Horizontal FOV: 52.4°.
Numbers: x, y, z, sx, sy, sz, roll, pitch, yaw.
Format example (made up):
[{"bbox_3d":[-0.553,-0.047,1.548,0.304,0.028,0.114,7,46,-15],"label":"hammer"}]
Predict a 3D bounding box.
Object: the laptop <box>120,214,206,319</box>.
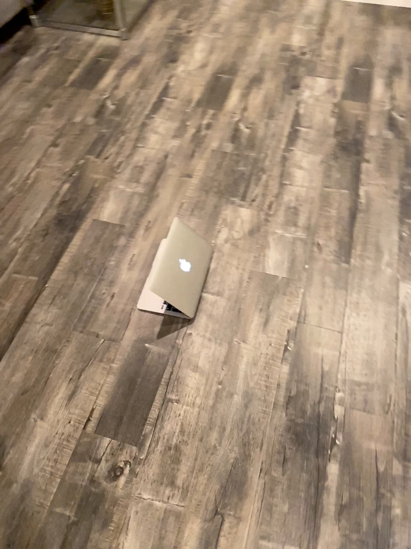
[{"bbox_3d":[-0.125,-0.031,1.361,0.193,0.132,0.293,10,56,7],"label":"laptop"}]
